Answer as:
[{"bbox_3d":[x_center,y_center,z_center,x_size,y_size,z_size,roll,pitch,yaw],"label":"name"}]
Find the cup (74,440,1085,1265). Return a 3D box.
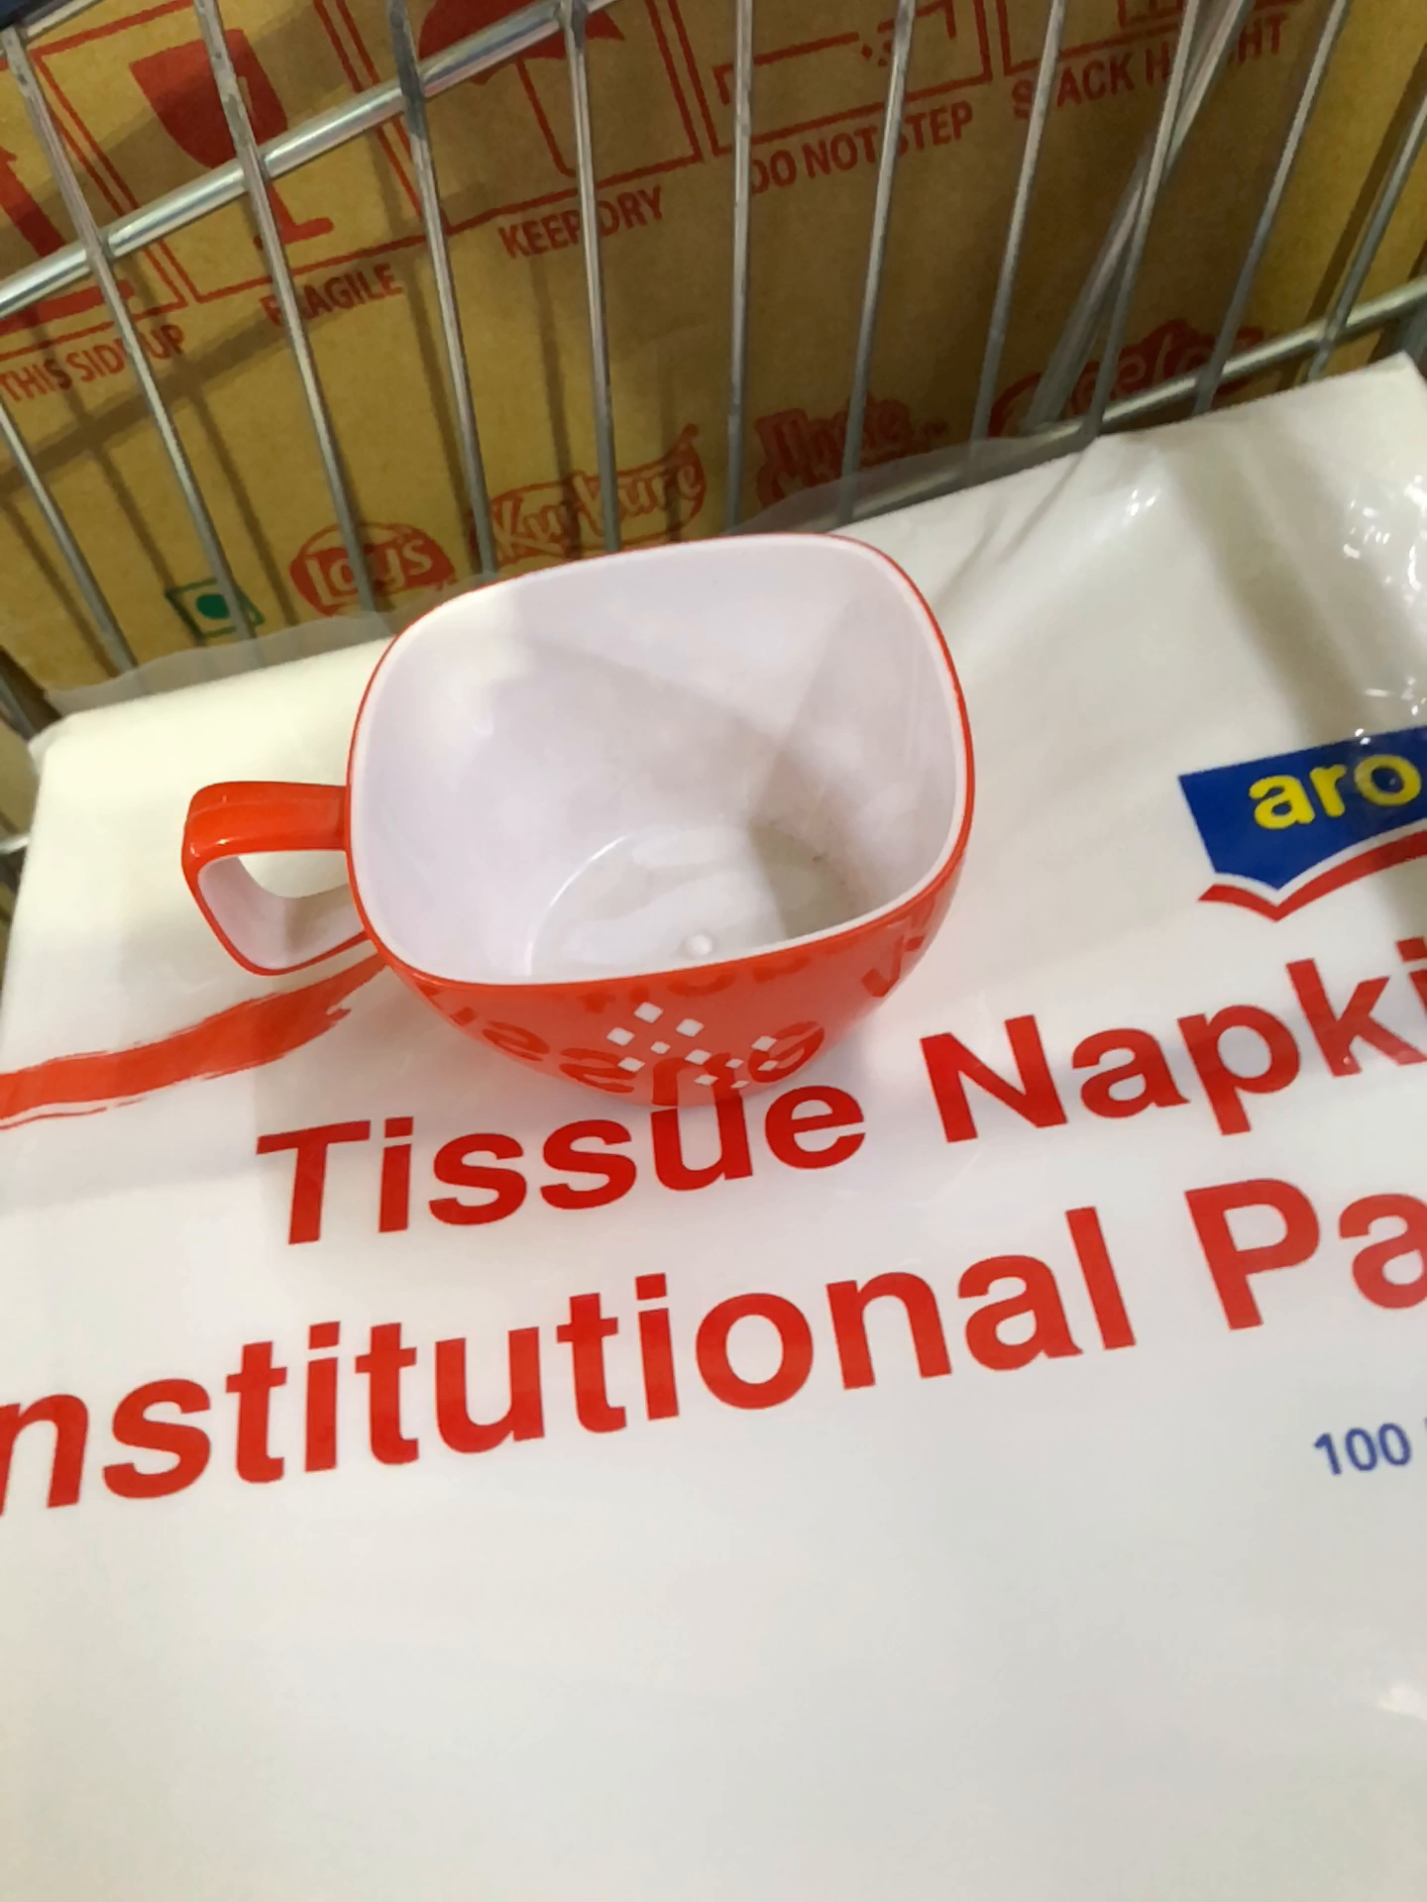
[{"bbox_3d":[-0.020,-0.014,0.236,0.120,0.060,0.090,-7,60,-2],"label":"cup"}]
